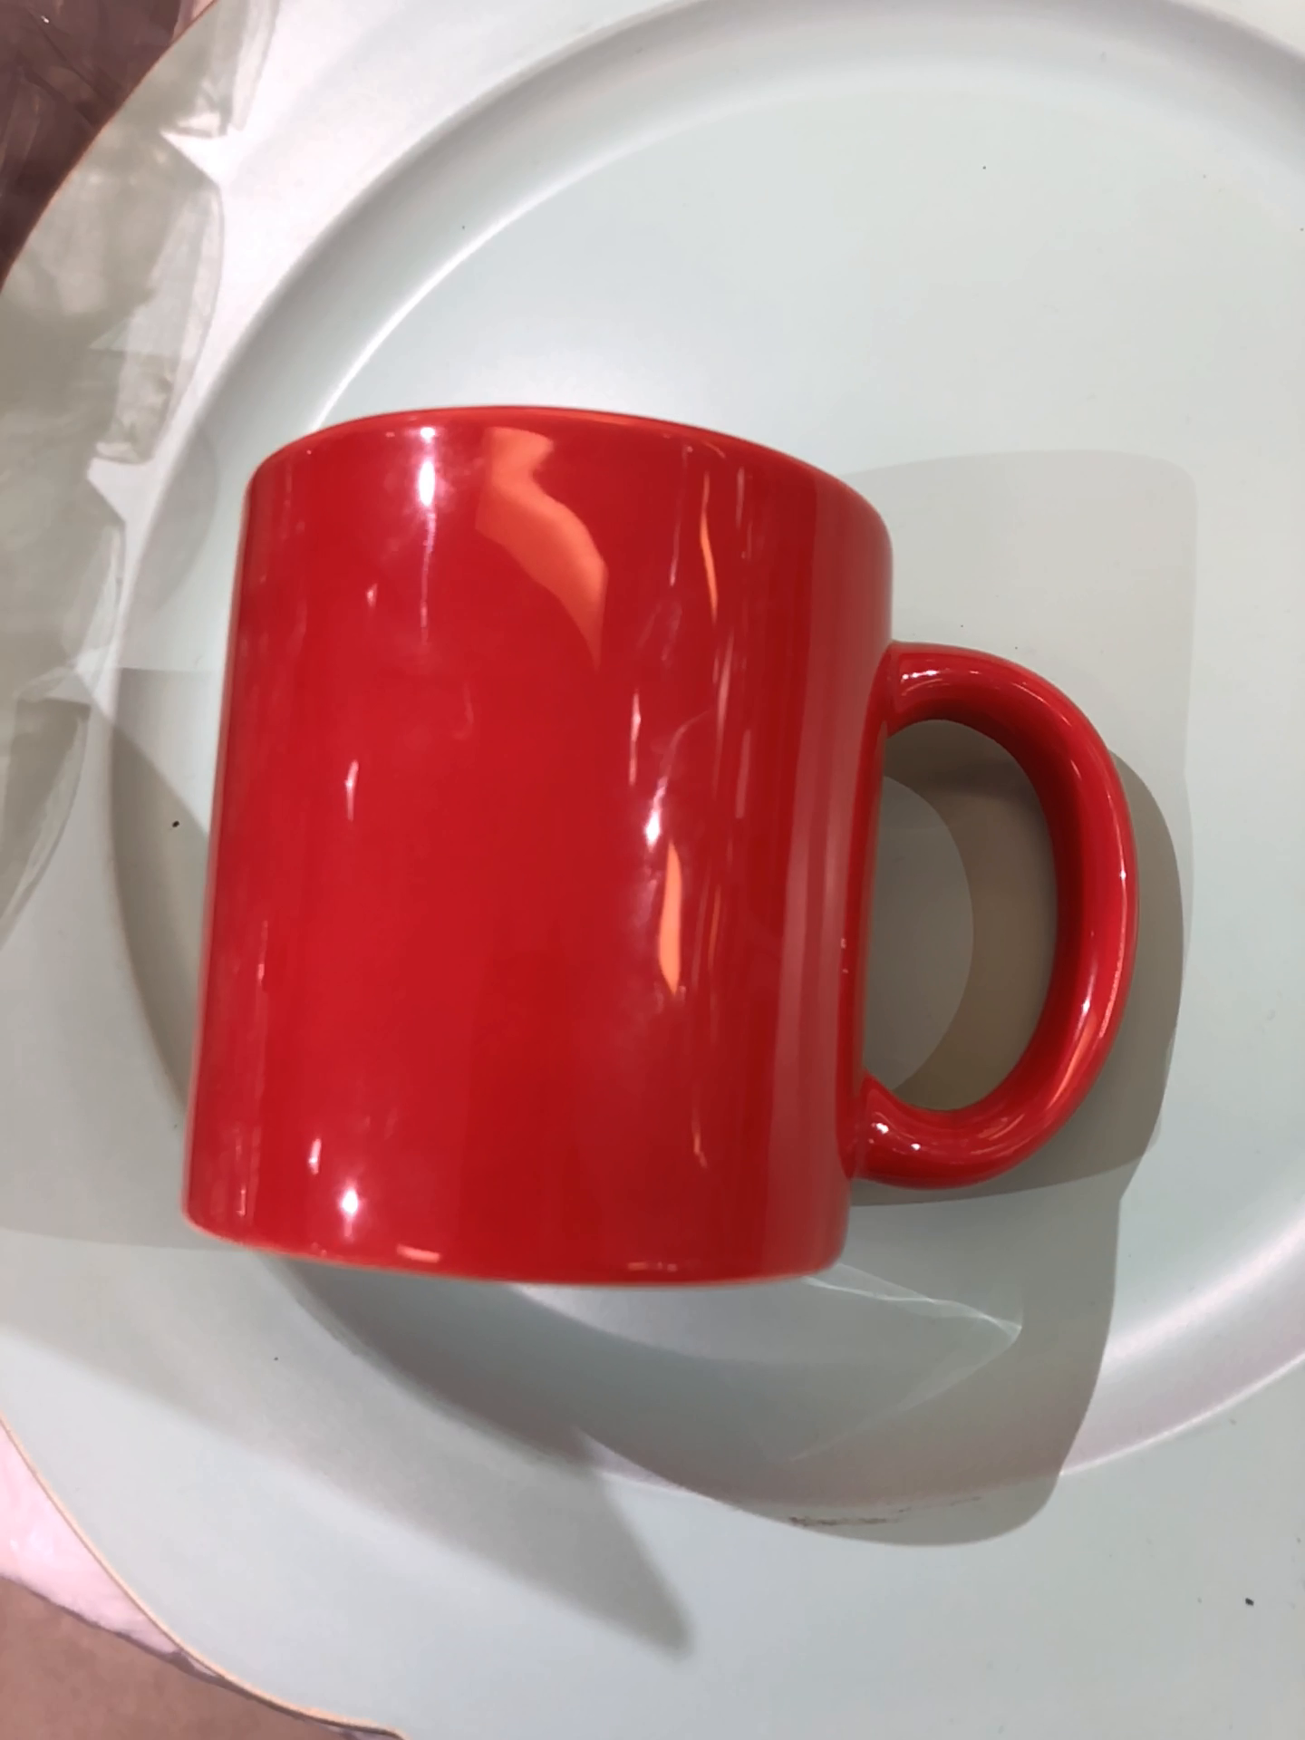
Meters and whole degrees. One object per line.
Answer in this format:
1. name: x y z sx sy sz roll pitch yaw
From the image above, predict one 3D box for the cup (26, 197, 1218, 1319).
1. cup: -0.002 -0.006 0.169 0.110 0.060 0.100 2 82 -11
